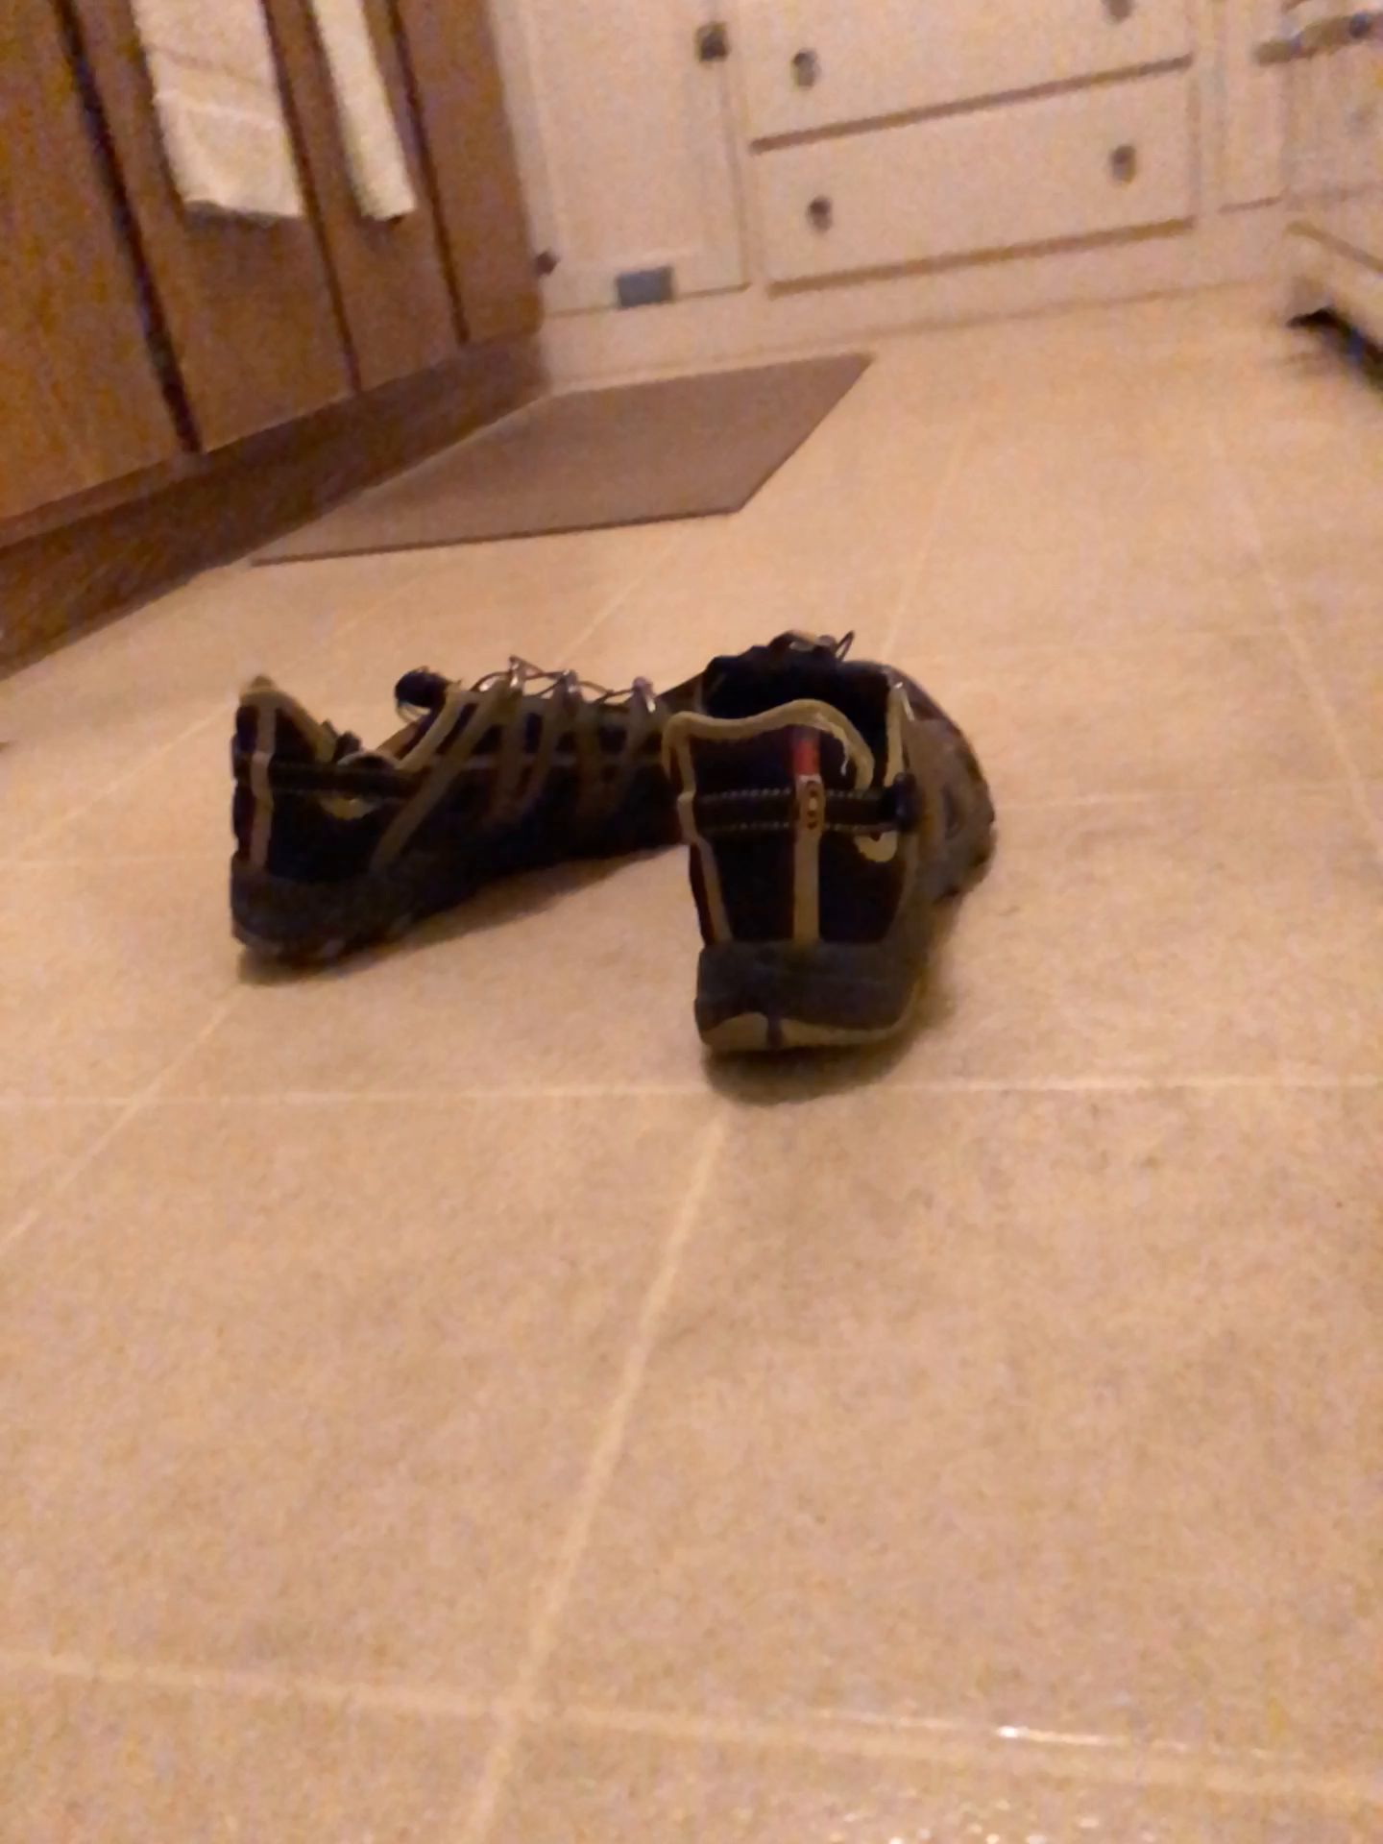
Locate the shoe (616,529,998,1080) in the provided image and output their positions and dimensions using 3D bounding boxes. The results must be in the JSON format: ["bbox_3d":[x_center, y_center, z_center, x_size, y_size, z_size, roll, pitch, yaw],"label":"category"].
[{"bbox_3d":[0.064,-0.064,0.613,0.109,0.111,0.288,-4,26,13],"label":"shoe"}]

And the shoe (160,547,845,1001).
[{"bbox_3d":[-0.079,-0.079,0.697,0.279,0.109,0.100,-21,27,-22],"label":"shoe"}]
